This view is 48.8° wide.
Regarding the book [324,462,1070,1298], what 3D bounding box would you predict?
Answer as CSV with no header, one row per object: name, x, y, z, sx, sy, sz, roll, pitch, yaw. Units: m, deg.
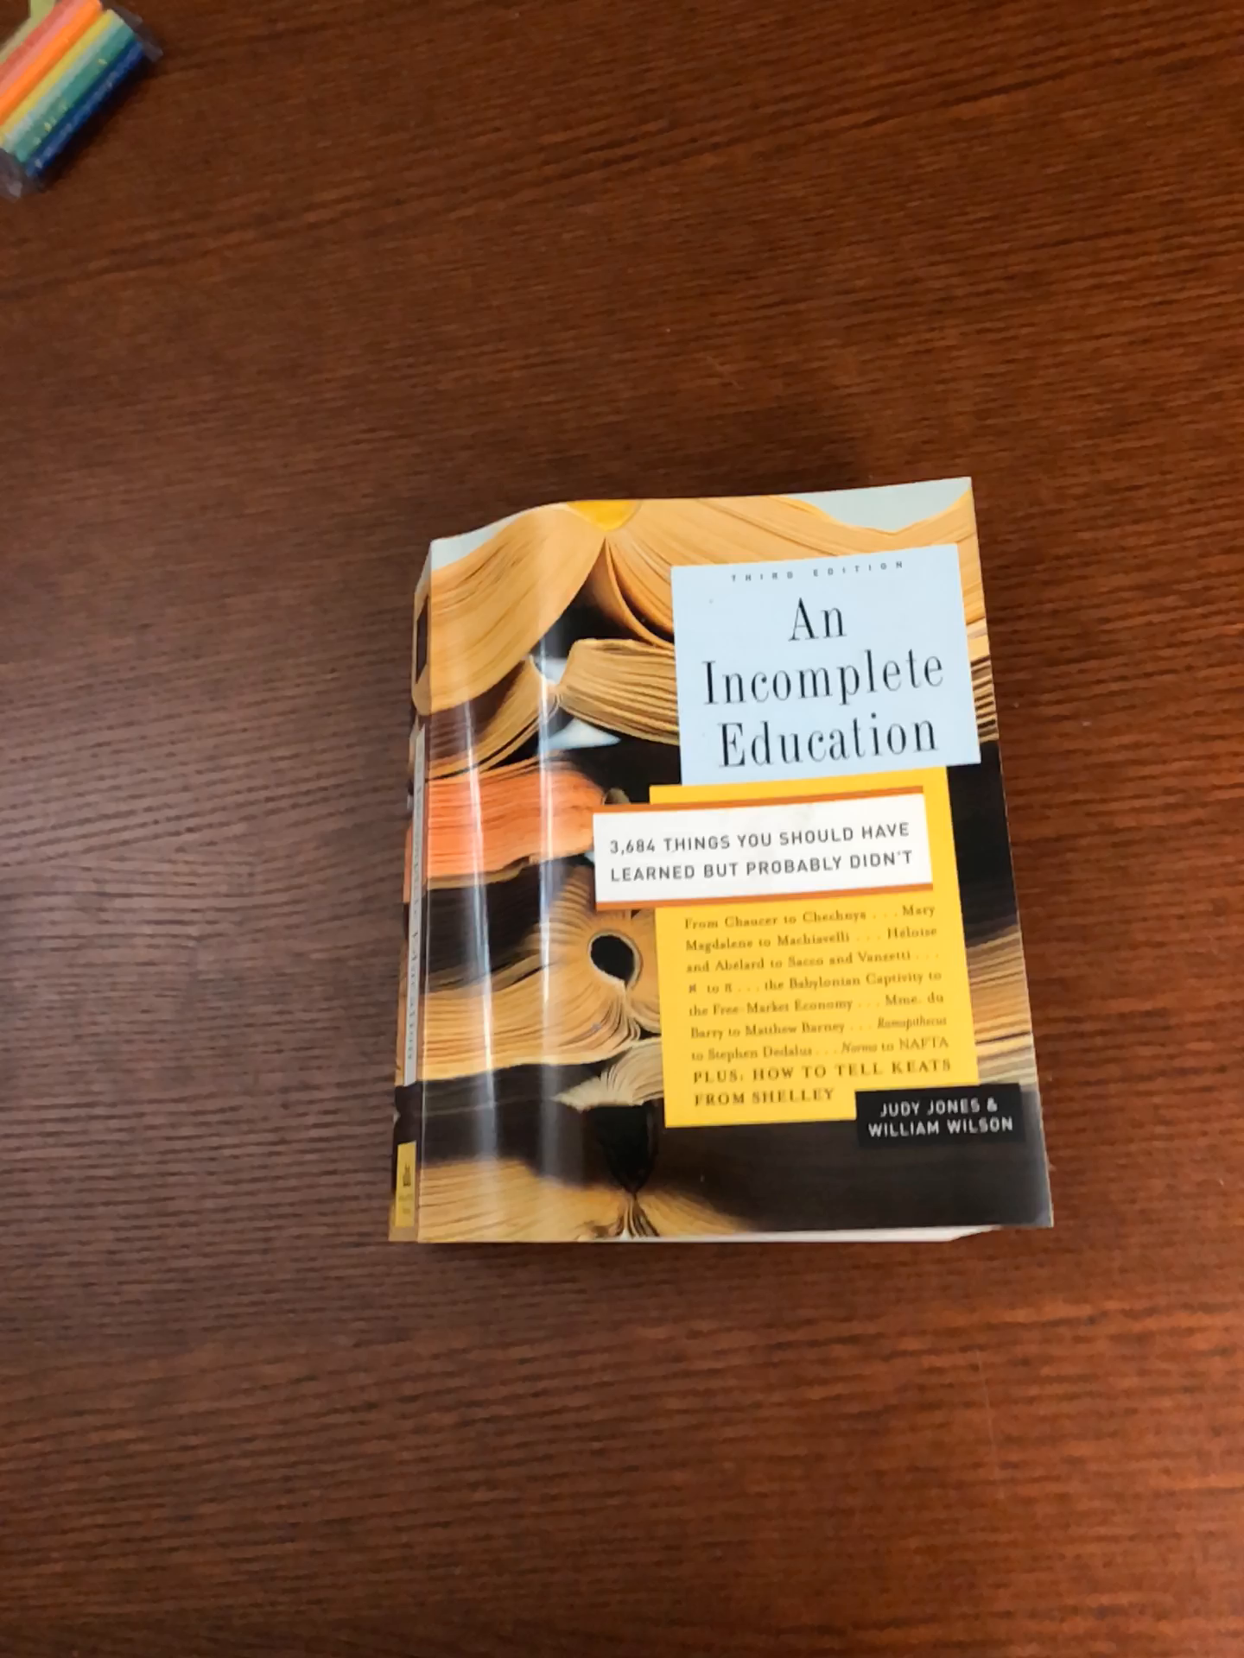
book,0.015,0.014,0.448,0.210,0.060,0.250,-3,74,2
